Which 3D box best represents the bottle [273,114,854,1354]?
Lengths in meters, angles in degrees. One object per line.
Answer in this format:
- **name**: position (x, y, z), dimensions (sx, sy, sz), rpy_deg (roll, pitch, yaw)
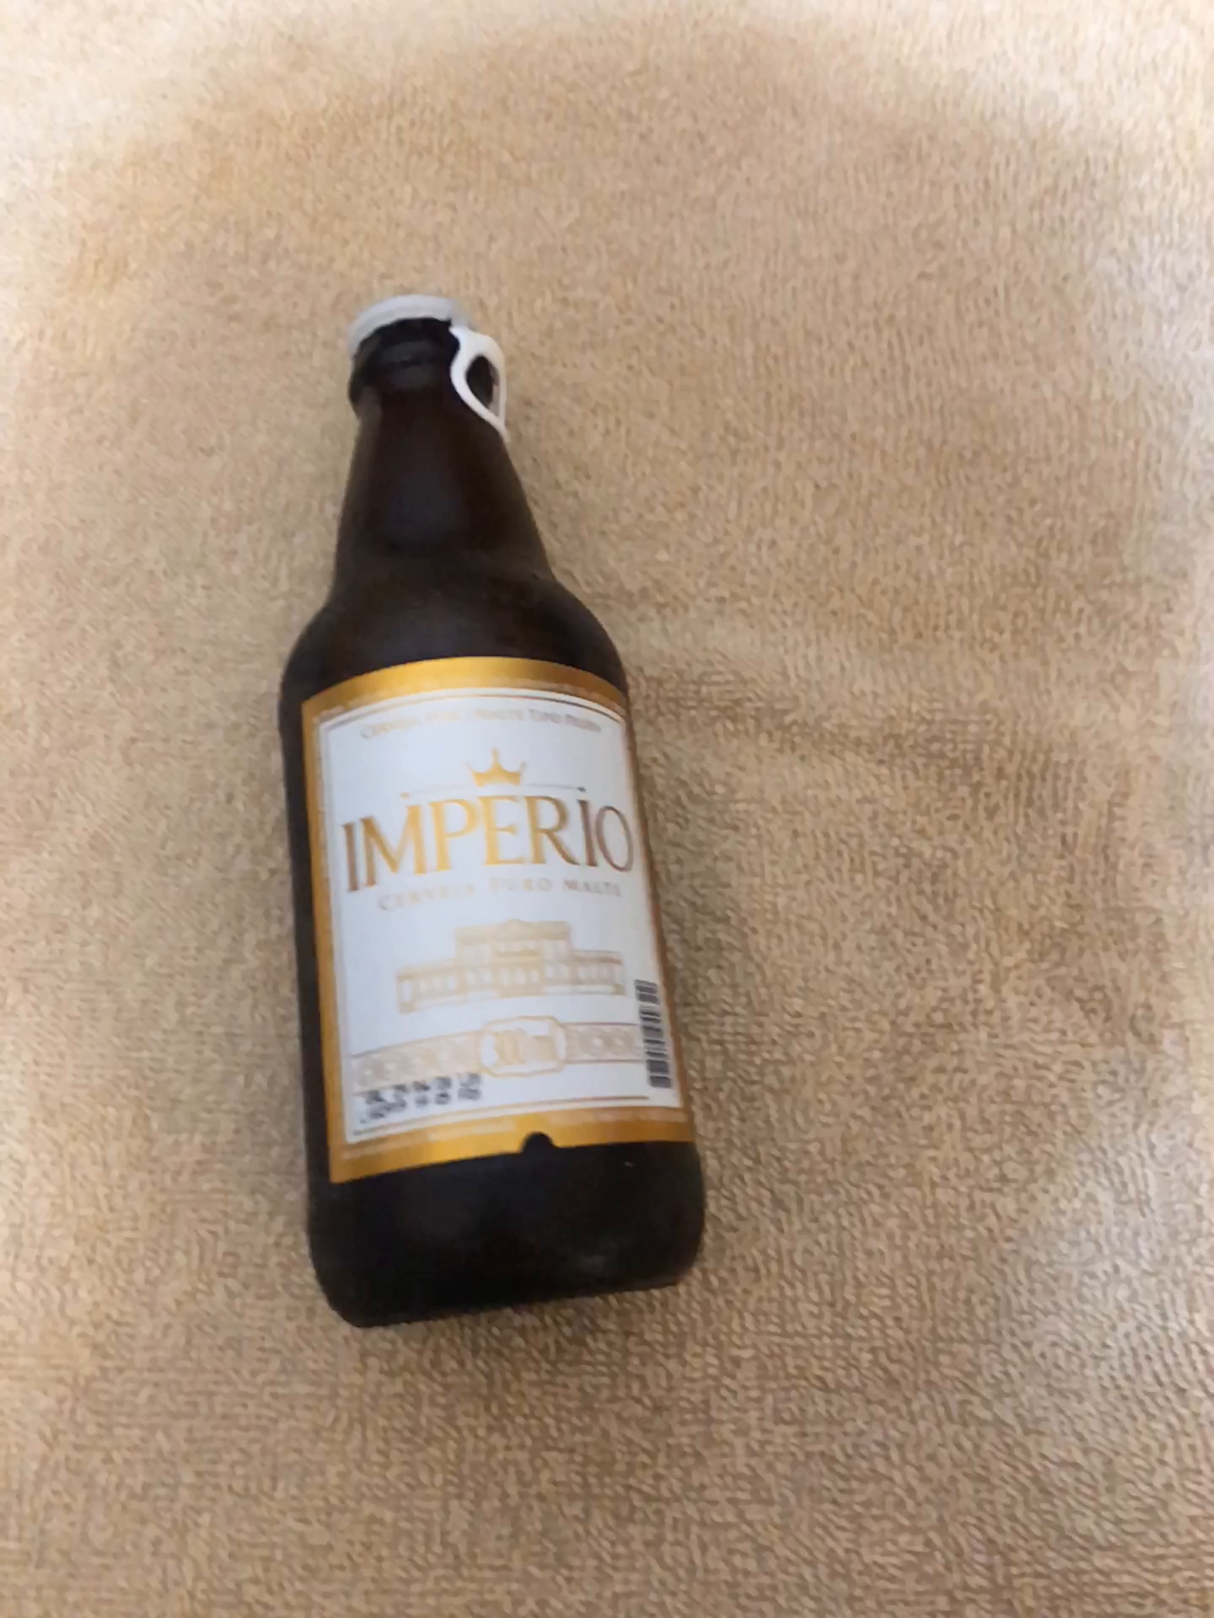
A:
- **bottle**: position (-0.014, -0.017, 0.224), dimensions (0.060, 0.060, 0.190), rpy_deg (-7, 70, -6)
